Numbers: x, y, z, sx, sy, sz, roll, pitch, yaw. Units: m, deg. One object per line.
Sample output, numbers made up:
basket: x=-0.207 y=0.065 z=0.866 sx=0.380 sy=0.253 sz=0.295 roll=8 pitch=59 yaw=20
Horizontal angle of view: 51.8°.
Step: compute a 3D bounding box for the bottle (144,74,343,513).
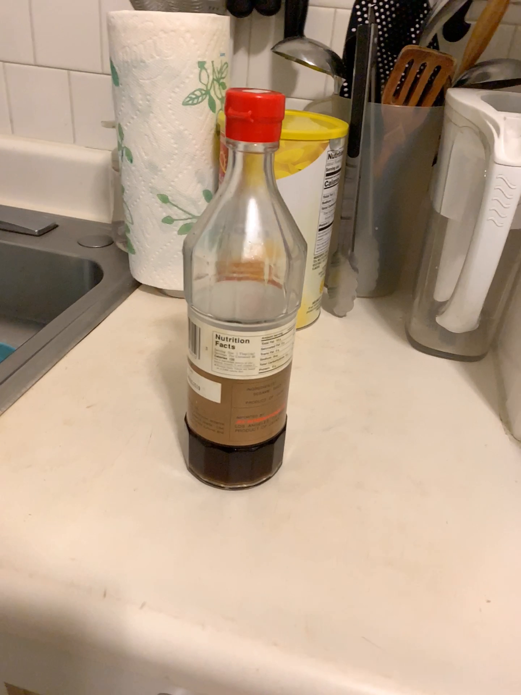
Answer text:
bottle: x=-0.015 y=-0.024 z=0.346 sx=0.090 sy=0.258 sz=0.091 roll=4 pitch=31 yaw=-3
